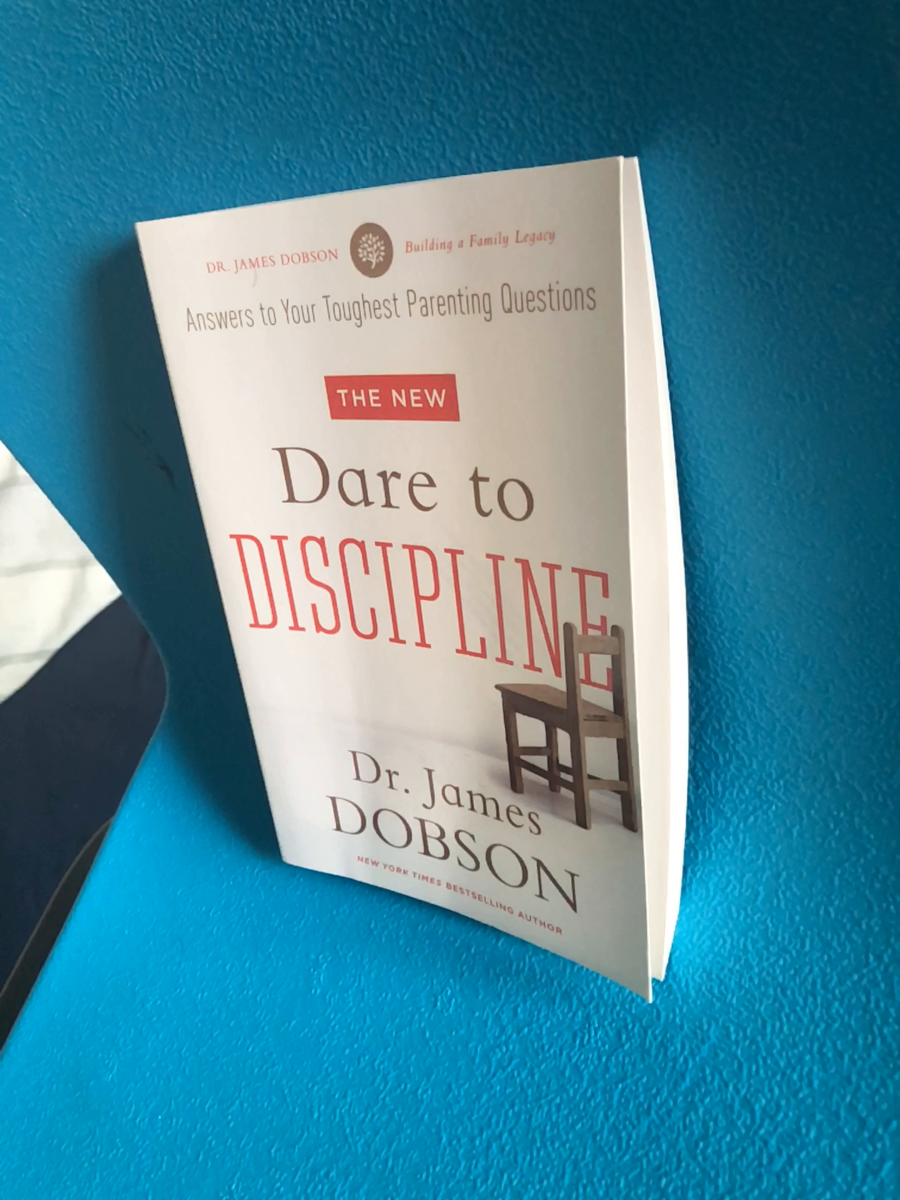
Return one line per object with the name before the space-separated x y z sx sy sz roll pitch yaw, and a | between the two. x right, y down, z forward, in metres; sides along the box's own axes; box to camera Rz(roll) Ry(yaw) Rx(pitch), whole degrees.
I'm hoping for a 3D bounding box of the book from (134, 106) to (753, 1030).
book | -0.003 -0.008 0.264 0.151 0.199 0.040 8 22 34
